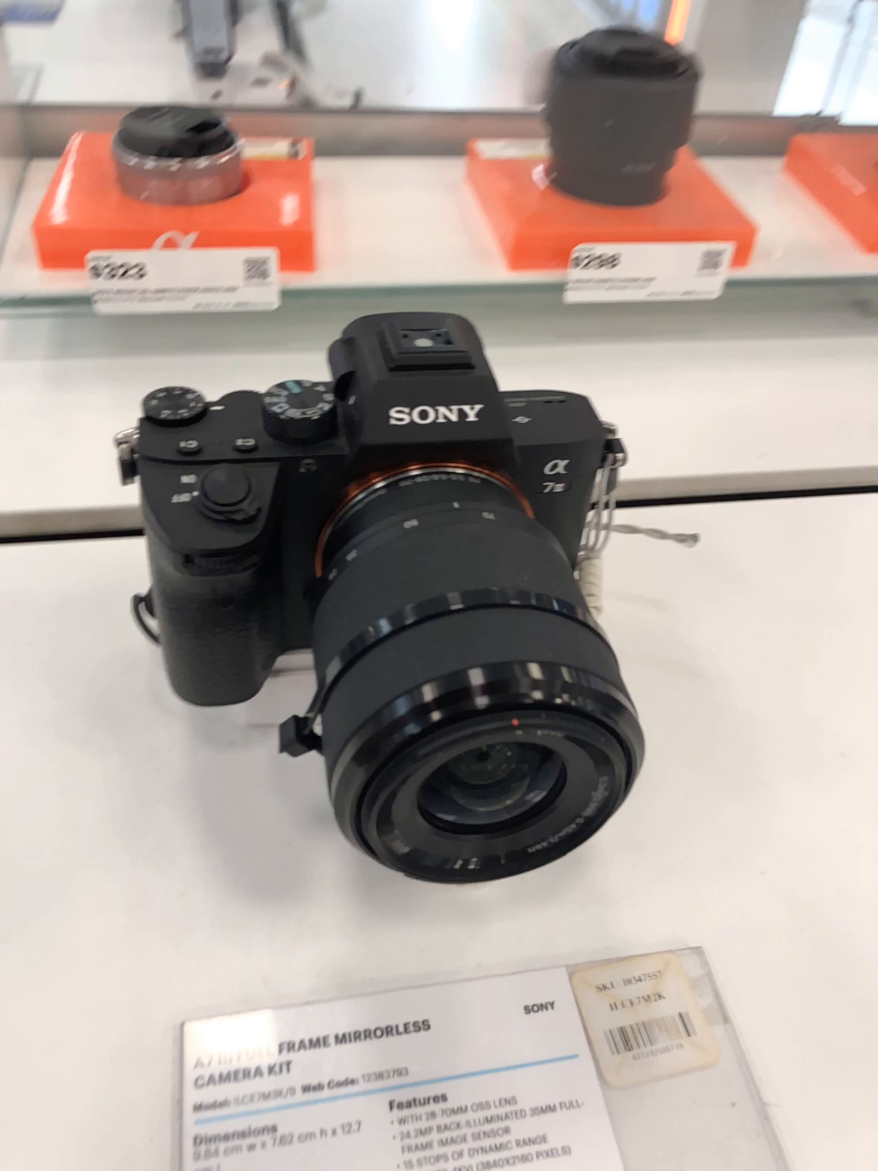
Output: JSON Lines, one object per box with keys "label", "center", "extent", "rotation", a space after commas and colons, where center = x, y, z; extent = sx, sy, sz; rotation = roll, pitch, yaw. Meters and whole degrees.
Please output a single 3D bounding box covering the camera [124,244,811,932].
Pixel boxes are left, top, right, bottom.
{"label": "camera", "center": [-0.009, -0.012, 0.271], "extent": [0.130, 0.100, 0.160], "rotation": [-4, 43, -10]}
